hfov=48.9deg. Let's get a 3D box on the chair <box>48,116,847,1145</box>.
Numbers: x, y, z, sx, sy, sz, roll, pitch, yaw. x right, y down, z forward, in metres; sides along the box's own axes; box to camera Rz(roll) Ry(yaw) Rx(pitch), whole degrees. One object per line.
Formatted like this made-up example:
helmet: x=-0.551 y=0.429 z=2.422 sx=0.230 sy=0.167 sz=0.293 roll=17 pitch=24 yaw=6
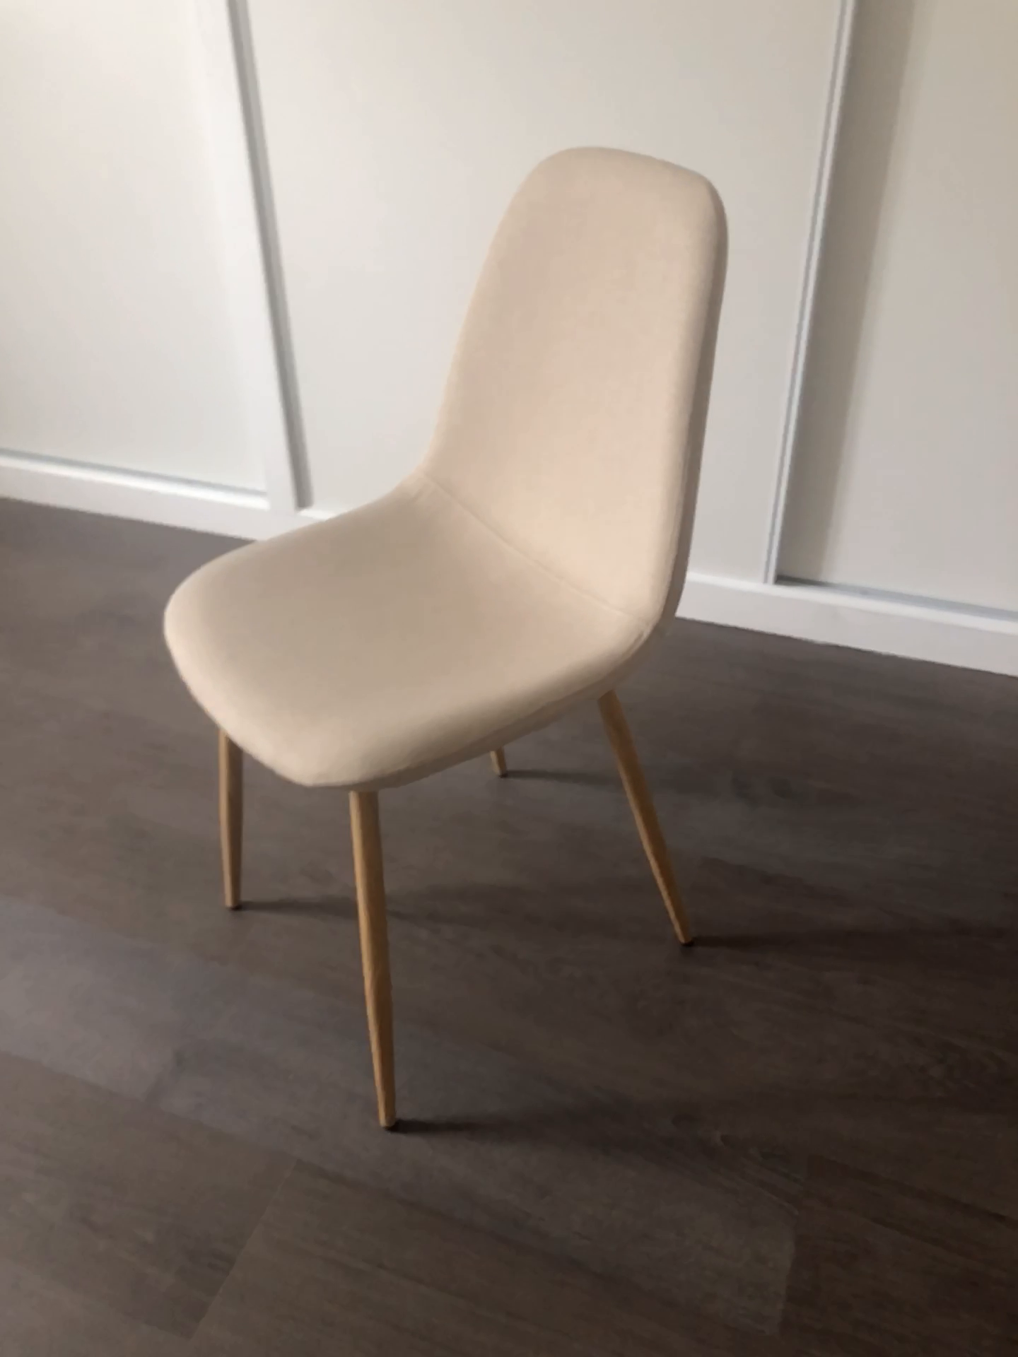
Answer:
chair: x=-0.056 y=-0.057 z=1.154 sx=0.502 sy=0.845 sz=0.431 roll=-22 pitch=40 yaw=-26
